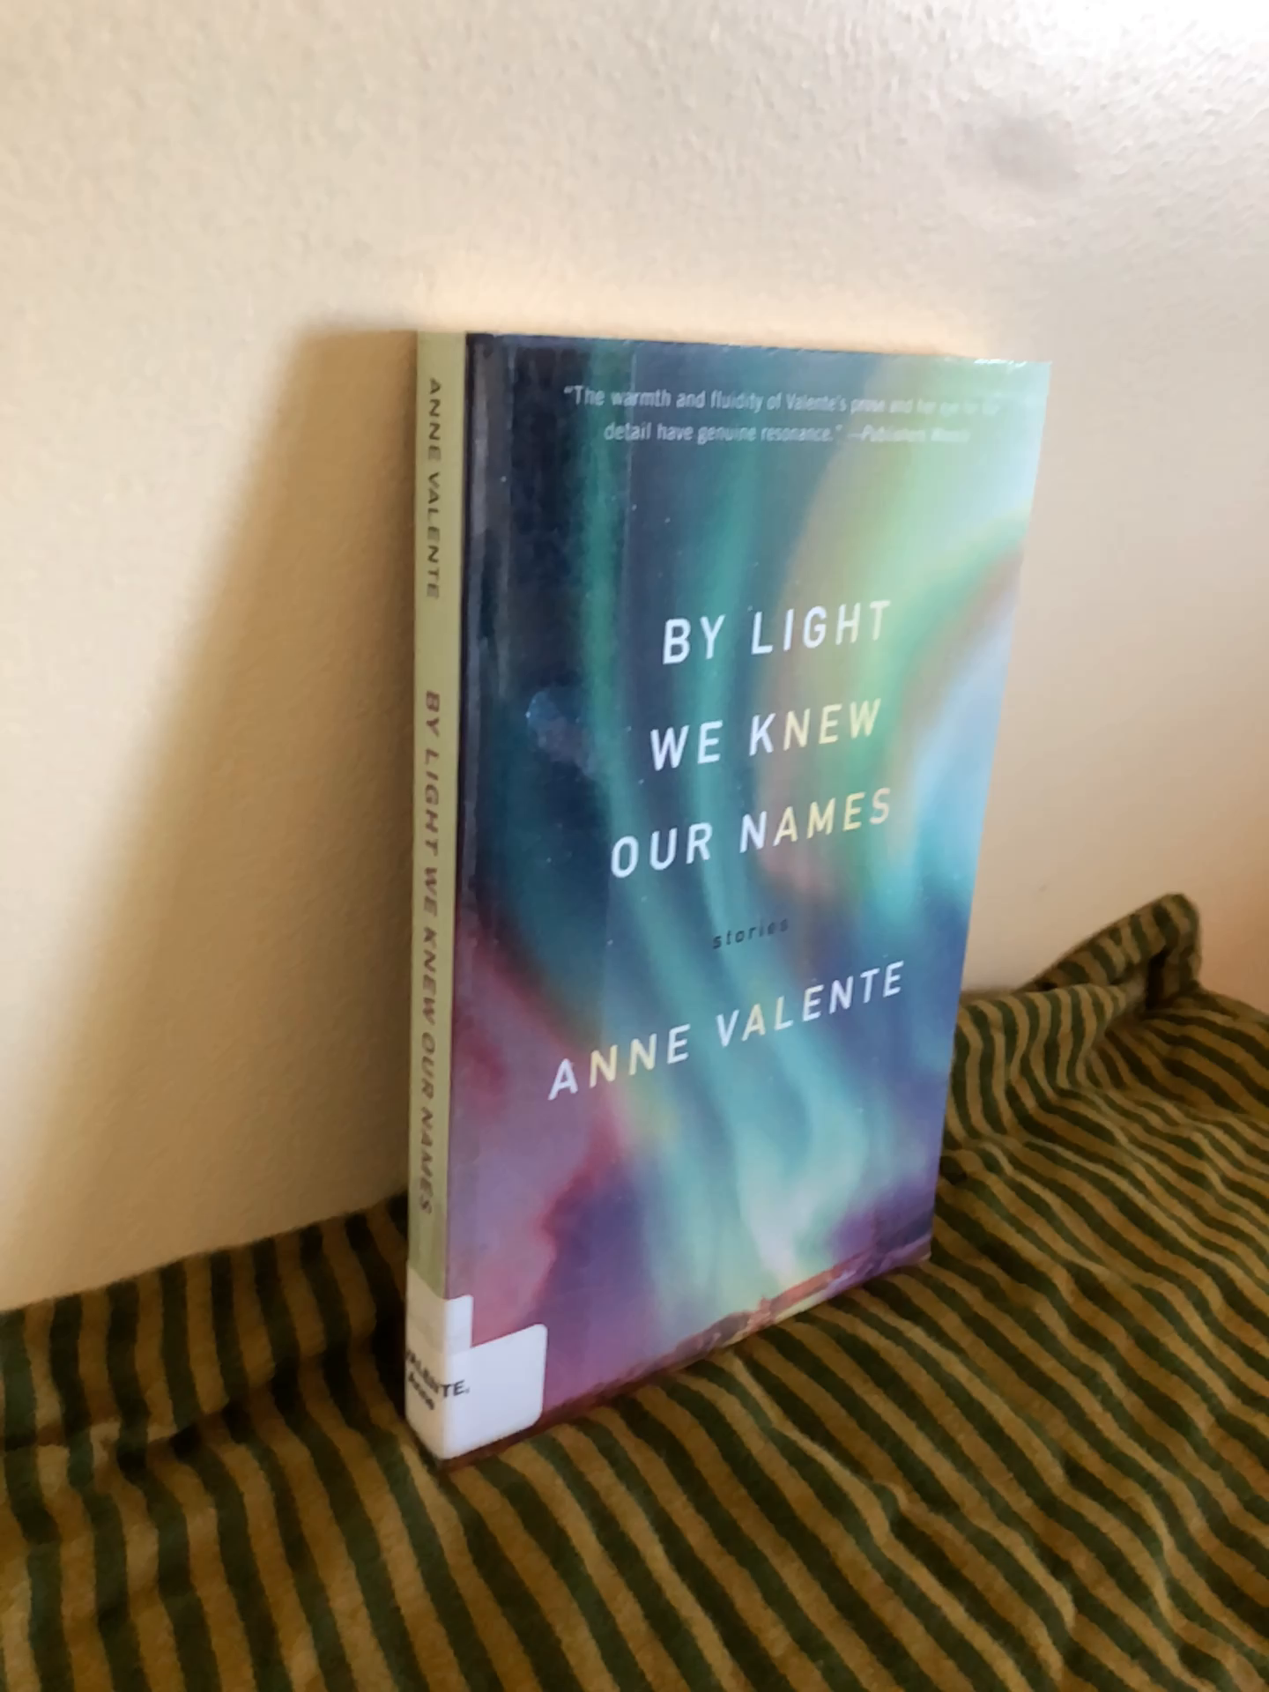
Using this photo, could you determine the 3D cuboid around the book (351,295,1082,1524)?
[{"bbox_3d":[0.016,0.015,0.285,0.142,0.223,0.020,-11,28,-39],"label":"book"}]
